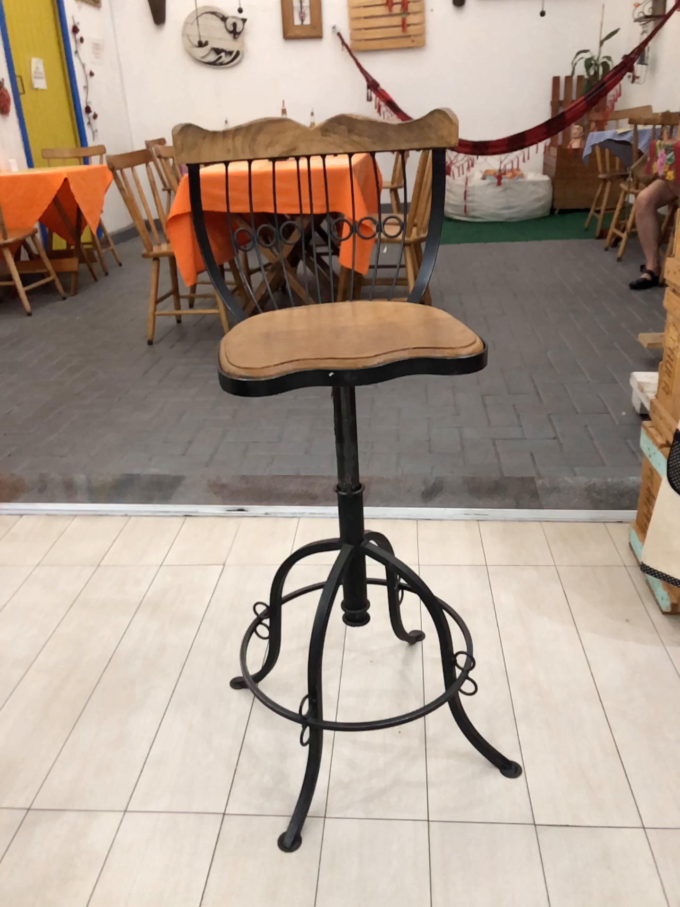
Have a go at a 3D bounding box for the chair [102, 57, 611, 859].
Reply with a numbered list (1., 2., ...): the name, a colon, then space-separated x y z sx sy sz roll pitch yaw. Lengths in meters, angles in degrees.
1. chair: -0.003 -0.016 1.038 0.460 0.894 0.473 -8 23 -11
